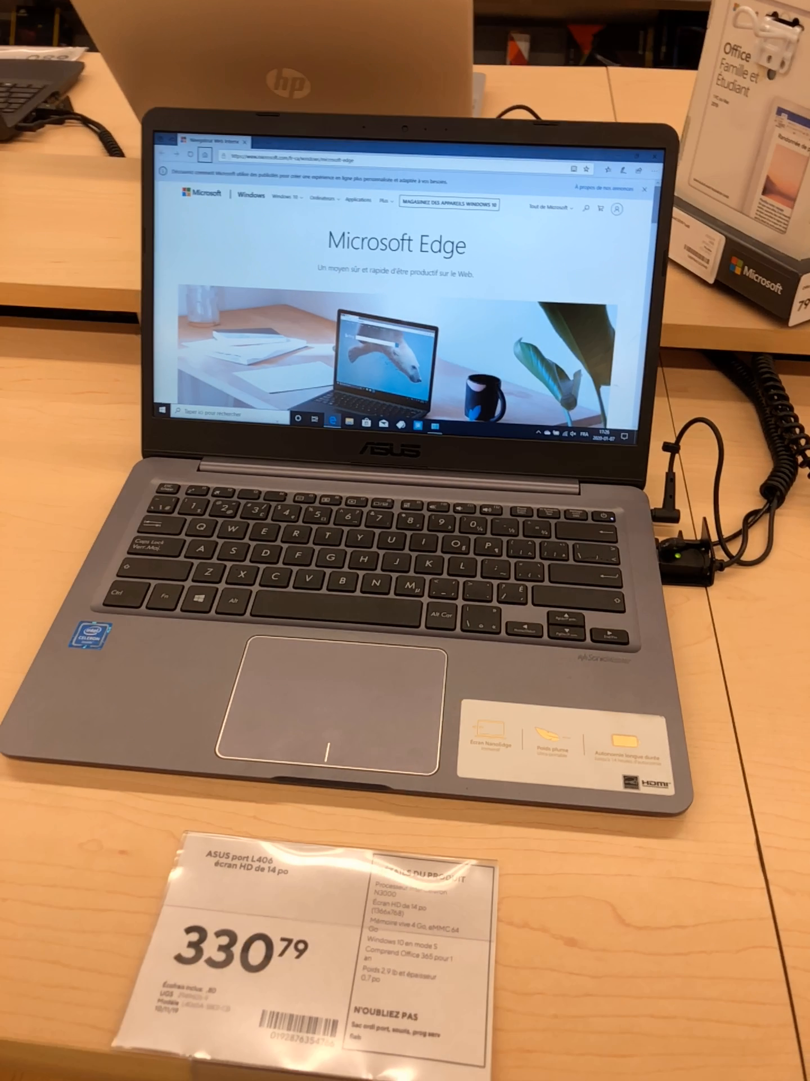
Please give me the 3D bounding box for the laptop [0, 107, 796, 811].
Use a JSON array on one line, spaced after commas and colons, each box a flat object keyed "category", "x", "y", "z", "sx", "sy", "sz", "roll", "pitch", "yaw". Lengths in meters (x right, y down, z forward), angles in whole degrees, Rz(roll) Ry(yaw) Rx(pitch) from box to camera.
[{"category": "laptop", "x": -0.016, "y": -0.069, "z": 0.463, "sx": 0.309, "sy": 0.172, "sz": 0.328, "roll": 4, "pitch": 45, "yaw": 4}]
